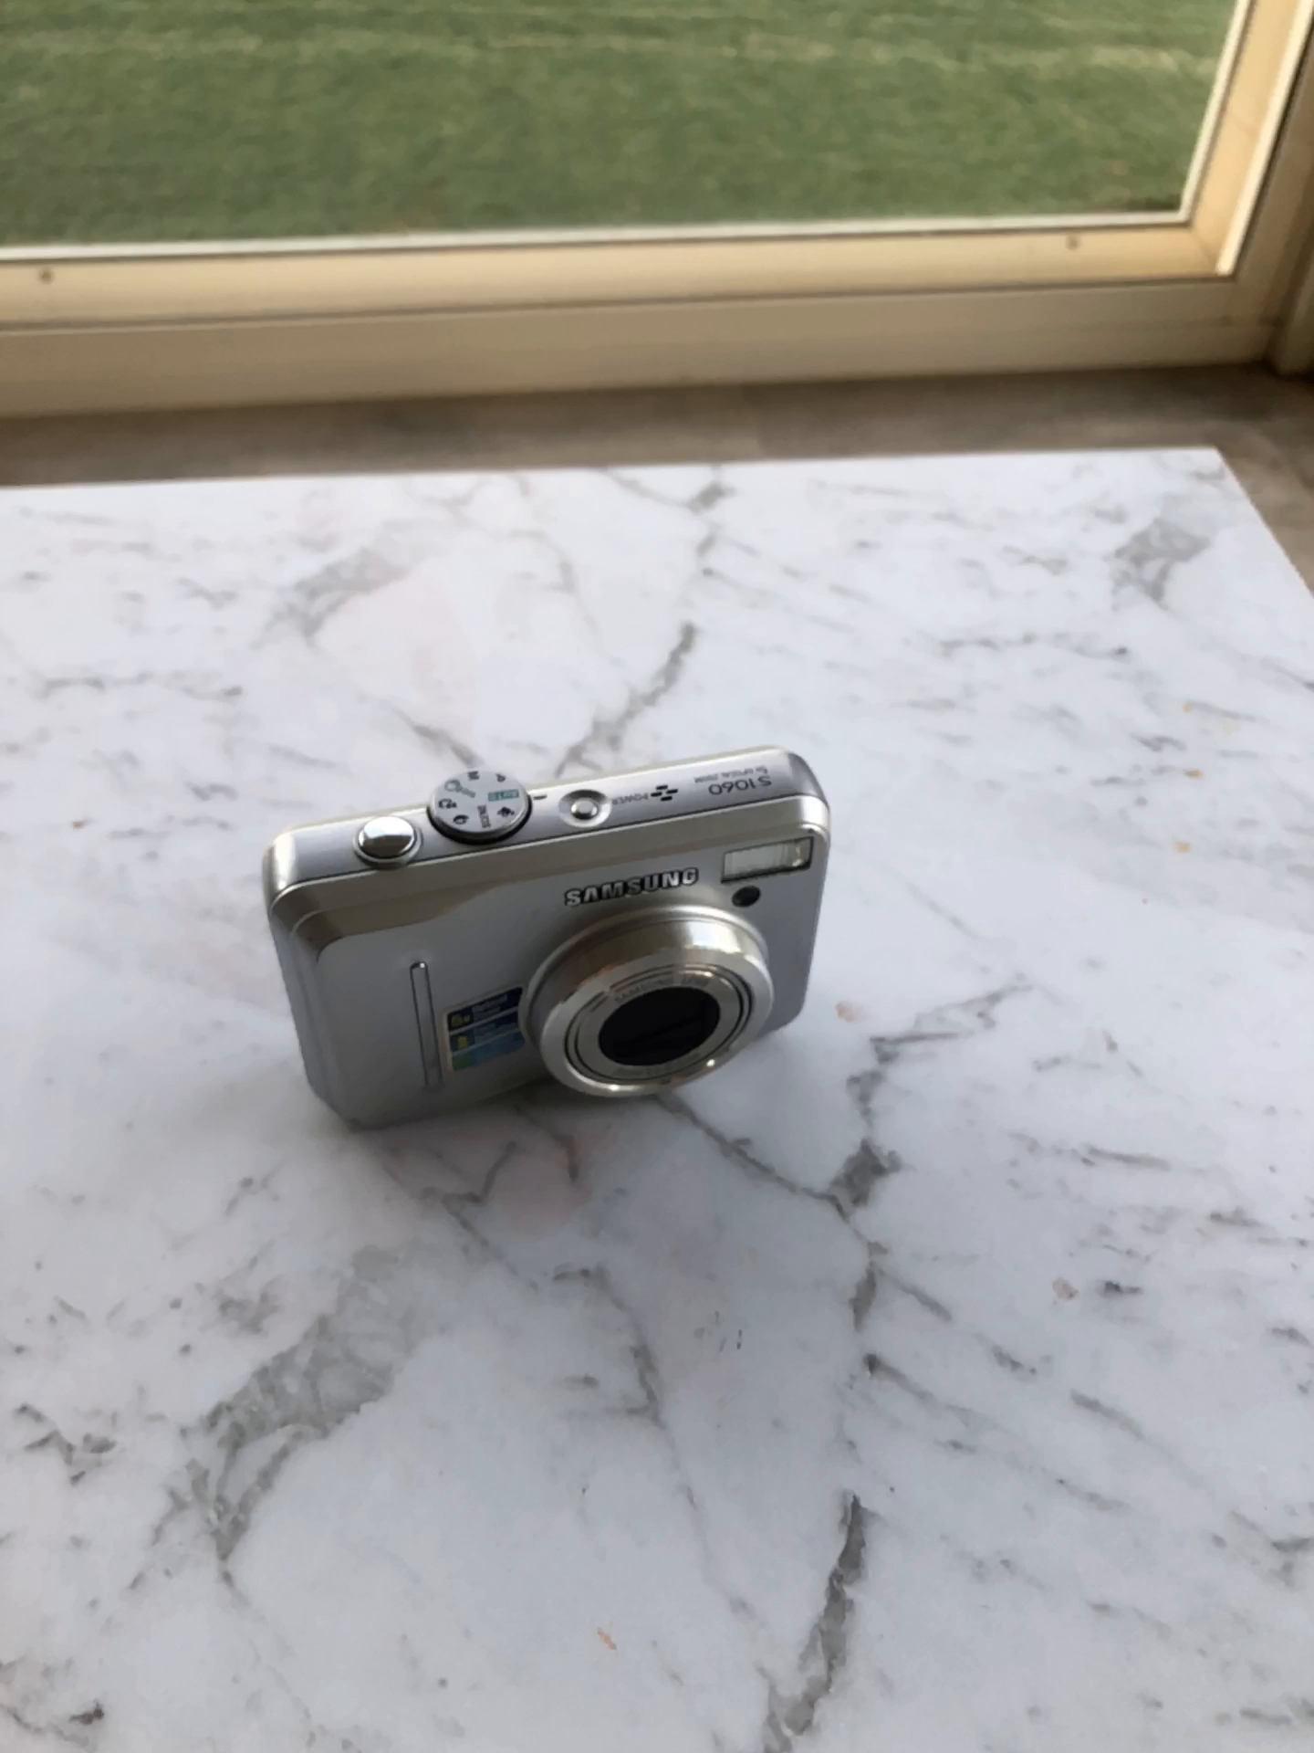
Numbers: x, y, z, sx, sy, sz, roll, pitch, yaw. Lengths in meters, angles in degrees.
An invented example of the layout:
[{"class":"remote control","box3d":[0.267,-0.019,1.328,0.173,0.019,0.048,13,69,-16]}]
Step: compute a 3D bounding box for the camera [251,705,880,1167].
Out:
[{"class":"camera","box3d":[-0.016,0.011,0.266,0.099,0.061,0.034,-10,48,-11]}]
